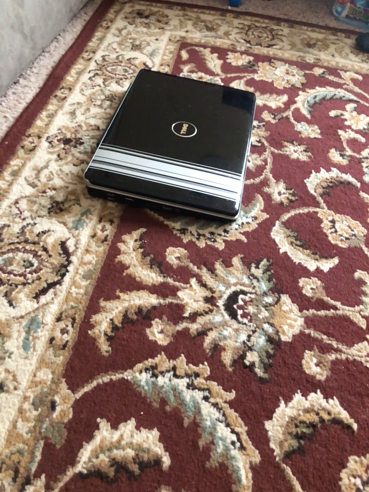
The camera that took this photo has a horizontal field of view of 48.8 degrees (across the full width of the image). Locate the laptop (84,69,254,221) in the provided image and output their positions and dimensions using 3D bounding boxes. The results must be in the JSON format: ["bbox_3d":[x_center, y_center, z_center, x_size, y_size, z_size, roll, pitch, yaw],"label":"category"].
[{"bbox_3d":[-0.007,-0.205,0.747,0.242,0.015,0.351,14,51,1],"label":"laptop"}]
